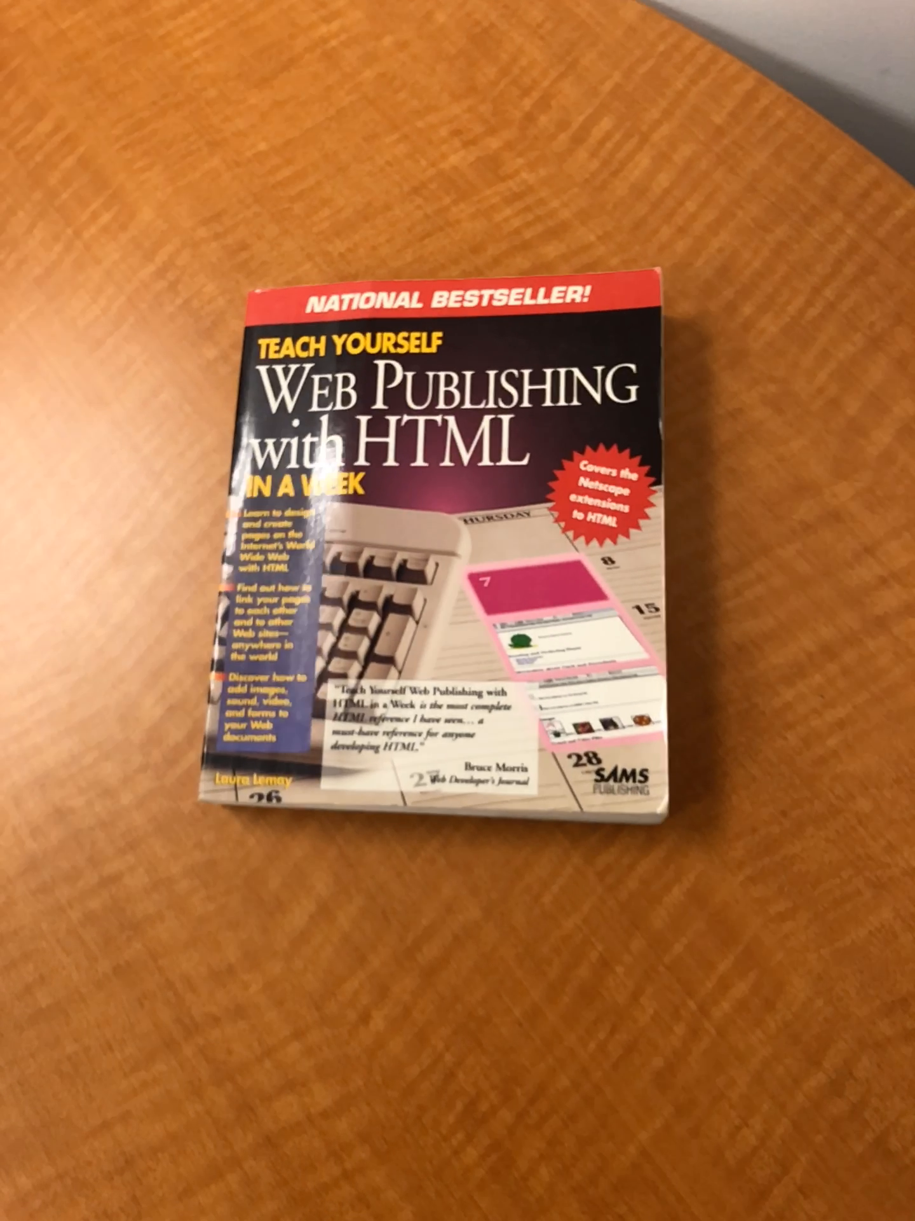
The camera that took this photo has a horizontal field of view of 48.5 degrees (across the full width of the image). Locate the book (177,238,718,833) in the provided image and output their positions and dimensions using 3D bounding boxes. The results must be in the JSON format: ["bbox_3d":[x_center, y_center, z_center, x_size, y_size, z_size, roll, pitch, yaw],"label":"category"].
[{"bbox_3d":[0.000,-0.036,0.441,0.210,0.040,0.250,1,75,7],"label":"book"}]
